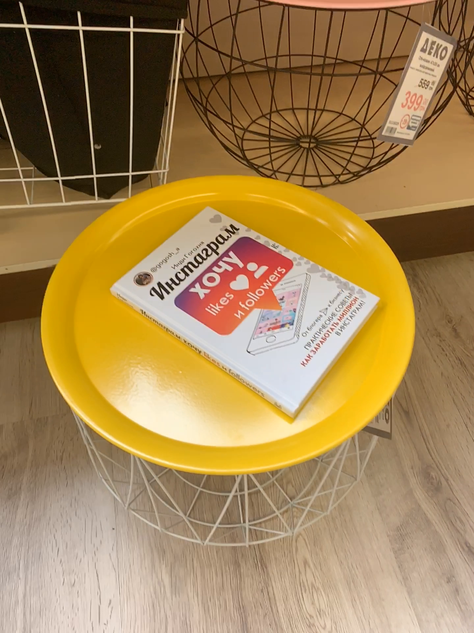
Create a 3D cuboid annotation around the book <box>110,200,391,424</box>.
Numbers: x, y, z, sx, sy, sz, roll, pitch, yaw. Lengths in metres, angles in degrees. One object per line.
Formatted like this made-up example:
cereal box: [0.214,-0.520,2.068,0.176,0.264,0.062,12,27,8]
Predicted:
book: [0.014,-0.022,0.518,0.240,0.020,0.170,32,60,21]
